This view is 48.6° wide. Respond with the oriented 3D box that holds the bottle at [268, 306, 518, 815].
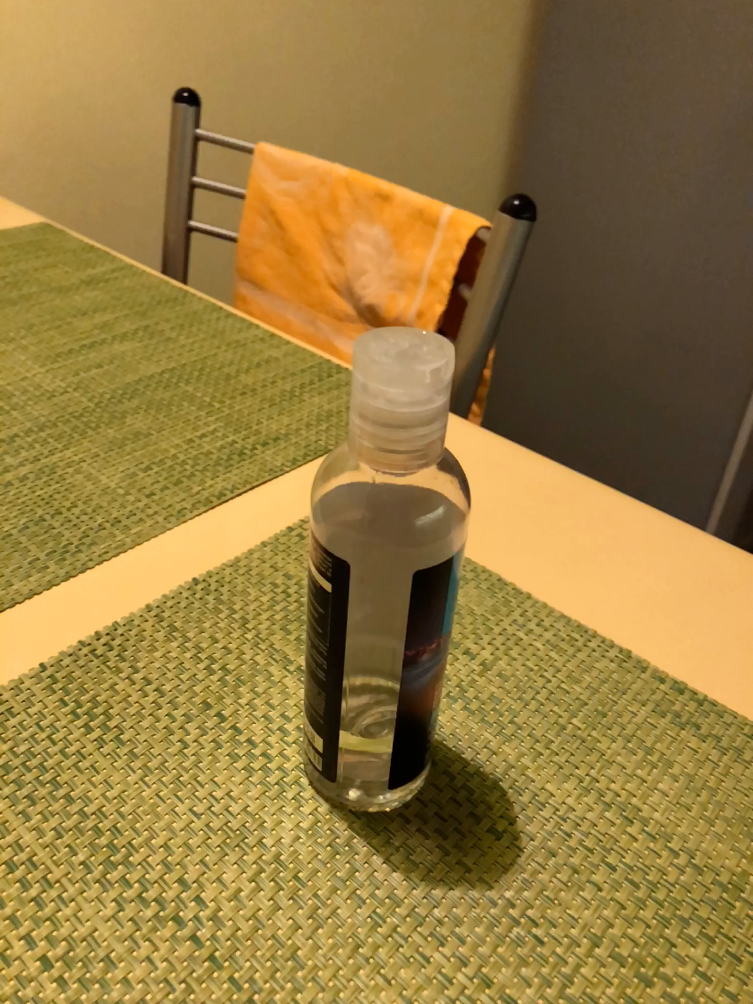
[{"bbox_3d":[-0.003,0.024,0.248,0.054,0.149,0.051,4,34,-3],"label":"bottle"}]
